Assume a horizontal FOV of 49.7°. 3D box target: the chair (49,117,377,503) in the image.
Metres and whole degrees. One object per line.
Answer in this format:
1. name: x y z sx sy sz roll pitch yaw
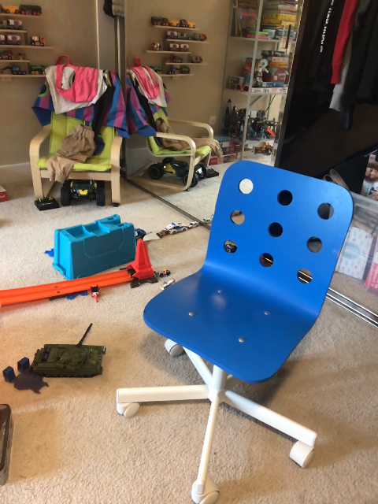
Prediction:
1. chair: 0.054 0.134 0.889 0.520 0.705 0.363 19 31 25
